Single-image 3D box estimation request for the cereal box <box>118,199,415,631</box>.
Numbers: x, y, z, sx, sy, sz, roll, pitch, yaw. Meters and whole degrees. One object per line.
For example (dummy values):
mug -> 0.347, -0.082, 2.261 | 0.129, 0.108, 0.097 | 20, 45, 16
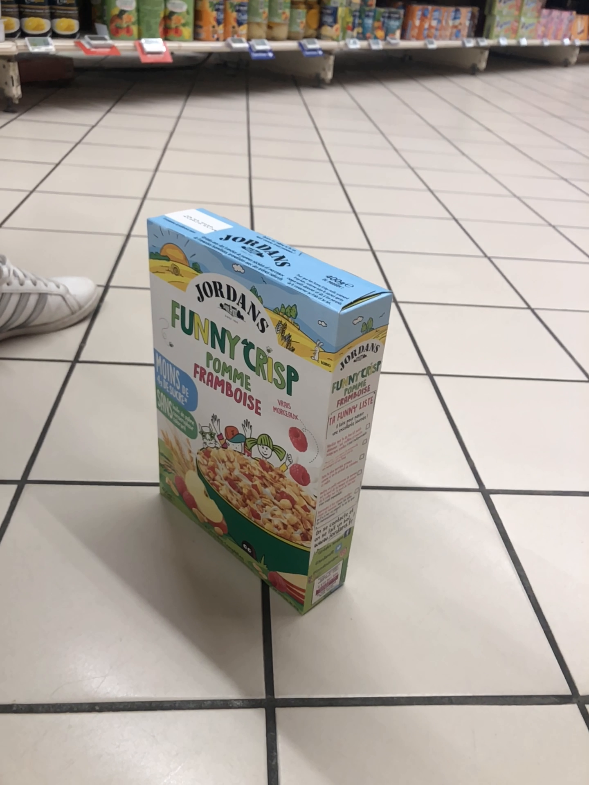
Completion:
cereal box -> -0.033, 0.011, 0.443 | 0.180, 0.229, 0.070 | 31, 39, 34
